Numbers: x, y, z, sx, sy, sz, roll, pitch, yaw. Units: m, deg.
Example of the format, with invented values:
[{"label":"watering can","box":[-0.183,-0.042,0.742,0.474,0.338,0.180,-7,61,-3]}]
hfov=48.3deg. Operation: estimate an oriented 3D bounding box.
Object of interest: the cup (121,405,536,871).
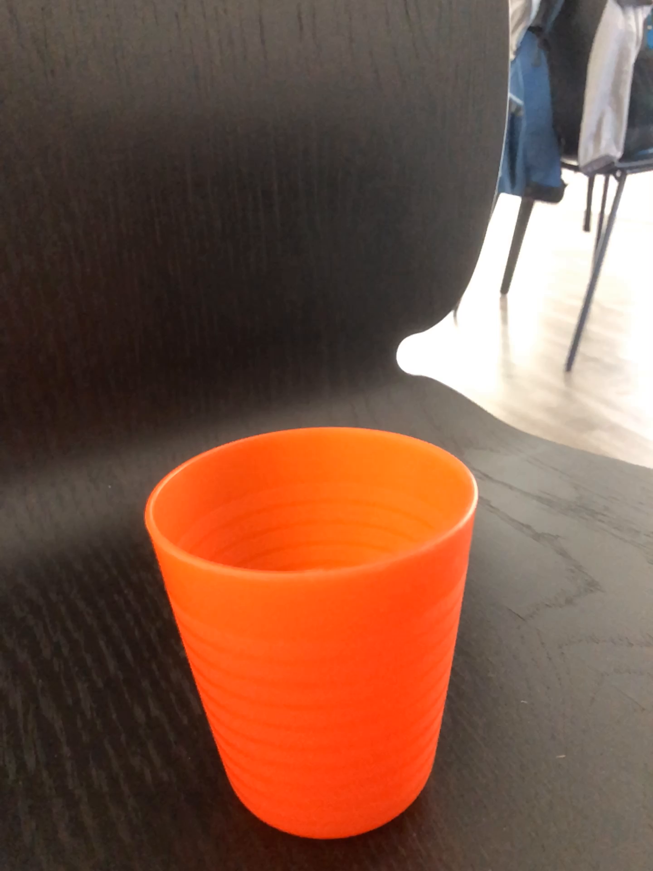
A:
[{"label":"cup","box":[-0.005,0.047,0.189,0.080,0.080,0.080,-1,25,0]}]
